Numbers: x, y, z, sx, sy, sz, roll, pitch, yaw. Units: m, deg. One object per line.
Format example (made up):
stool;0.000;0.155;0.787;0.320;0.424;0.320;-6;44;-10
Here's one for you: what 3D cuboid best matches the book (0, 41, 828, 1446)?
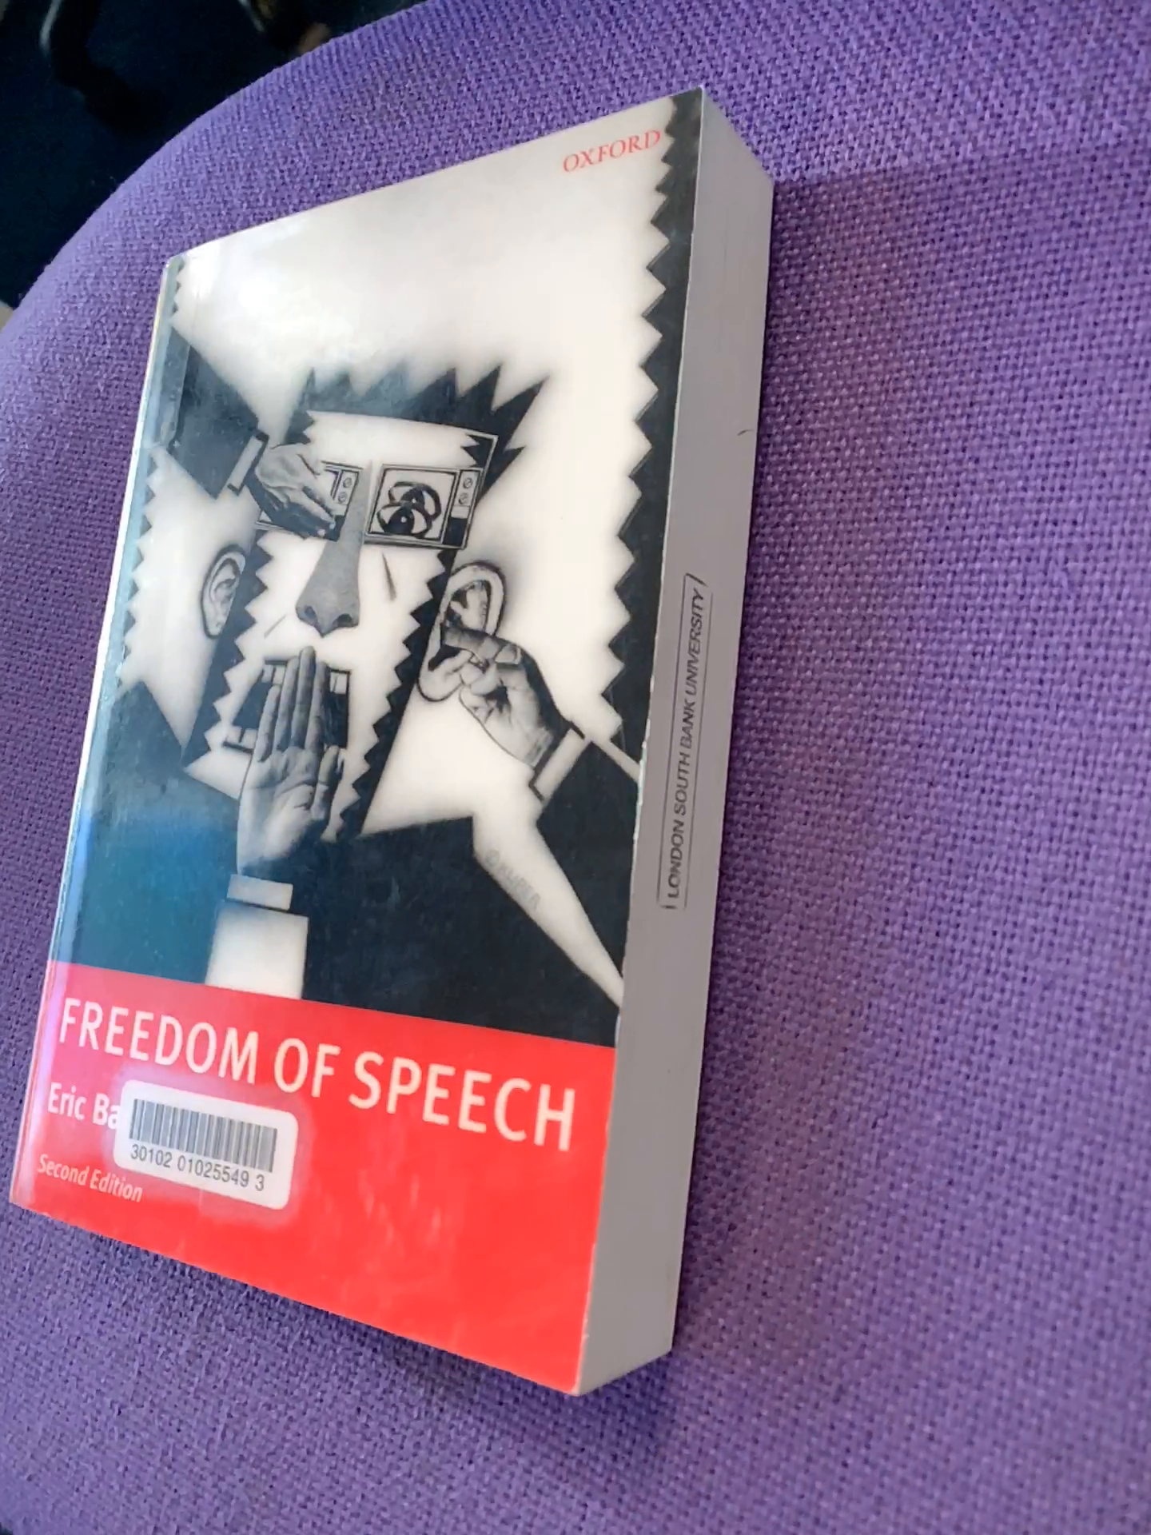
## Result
book;-0.038;-0.013;0.267;0.160;0.050;0.250;1;79;29
